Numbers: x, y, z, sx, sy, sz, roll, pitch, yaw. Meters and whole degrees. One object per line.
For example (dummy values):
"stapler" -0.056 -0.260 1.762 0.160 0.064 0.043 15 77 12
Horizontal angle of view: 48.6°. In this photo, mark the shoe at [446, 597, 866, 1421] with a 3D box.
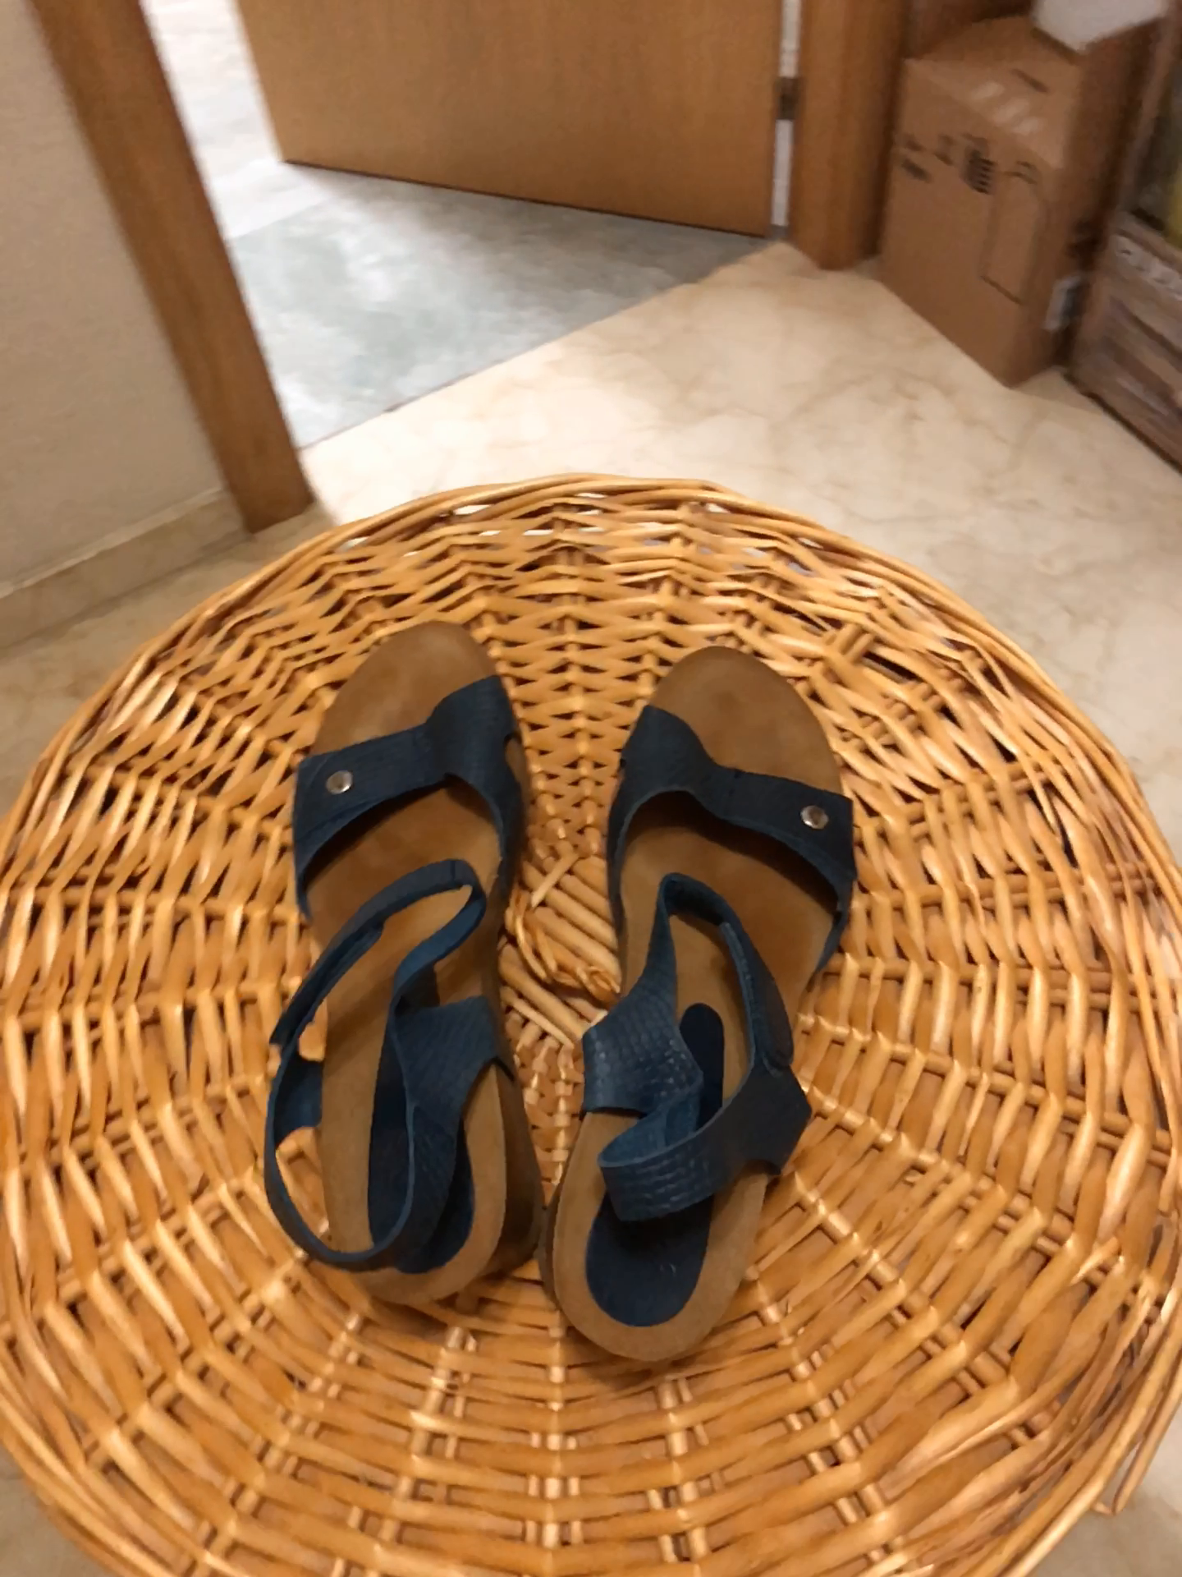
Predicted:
"shoe" 0.037 0.060 0.467 0.090 0.060 0.281 5 58 15

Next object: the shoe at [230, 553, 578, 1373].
"shoe" -0.069 0.048 0.470 0.090 0.060 0.281 -11 57 5
